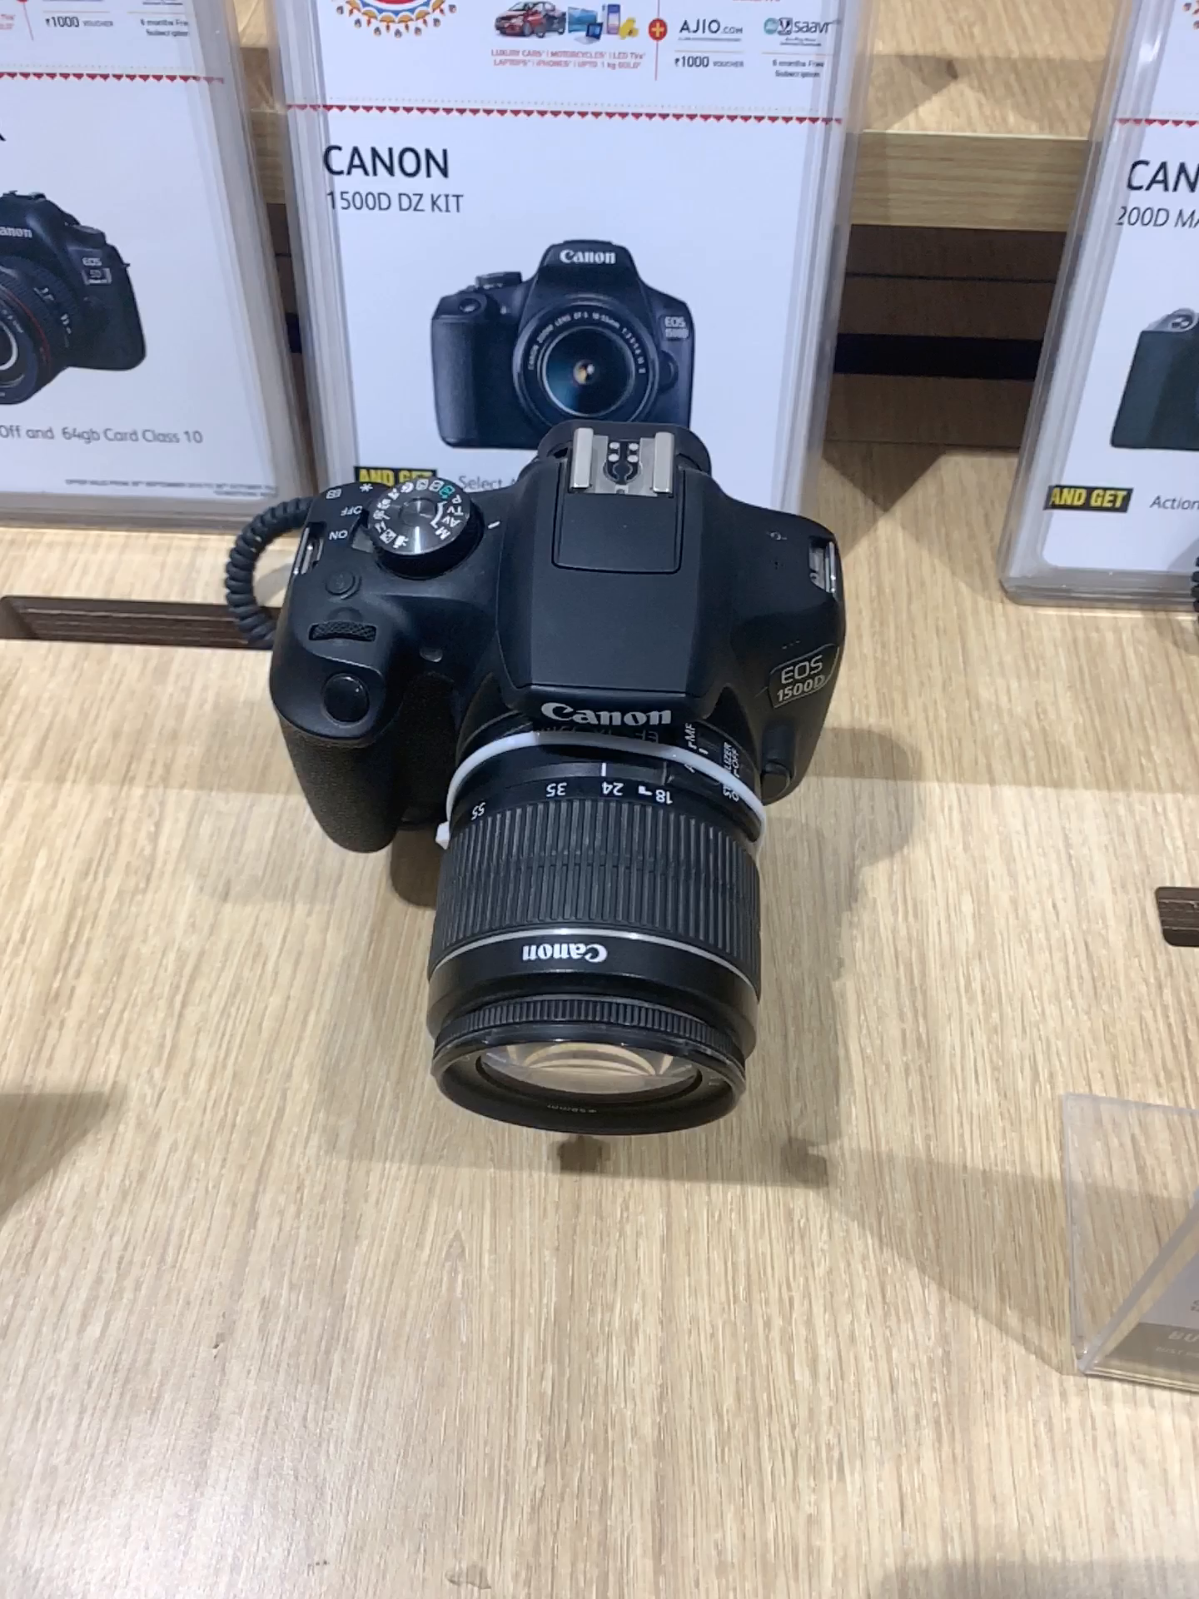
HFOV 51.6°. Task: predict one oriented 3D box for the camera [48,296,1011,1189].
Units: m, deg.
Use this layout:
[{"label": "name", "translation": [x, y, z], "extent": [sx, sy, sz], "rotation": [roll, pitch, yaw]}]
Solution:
[{"label": "camera", "translation": [-0.008, -0.014, 0.266], "extent": [0.140, 0.100, 0.160], "rotation": [1, 56, 1]}]
